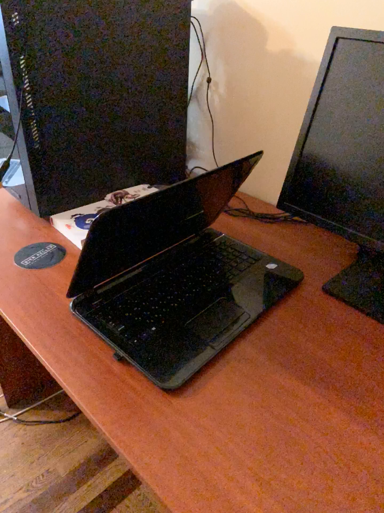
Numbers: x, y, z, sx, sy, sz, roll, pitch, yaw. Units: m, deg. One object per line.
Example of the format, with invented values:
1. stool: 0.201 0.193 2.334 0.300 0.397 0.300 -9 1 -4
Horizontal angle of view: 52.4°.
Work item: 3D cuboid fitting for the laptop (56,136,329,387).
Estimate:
1. laptop: 0.013 -0.030 0.620 0.223 0.198 0.349 29 42 33
